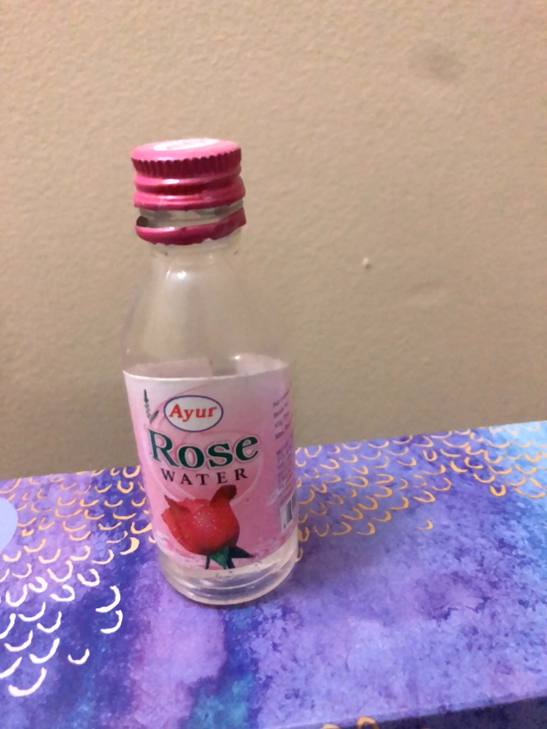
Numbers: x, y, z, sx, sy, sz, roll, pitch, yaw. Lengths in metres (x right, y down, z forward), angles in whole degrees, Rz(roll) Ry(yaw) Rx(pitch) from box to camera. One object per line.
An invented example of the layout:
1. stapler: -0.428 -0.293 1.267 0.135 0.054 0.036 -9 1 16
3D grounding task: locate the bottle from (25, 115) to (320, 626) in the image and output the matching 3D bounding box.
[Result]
1. bottle: -0.013 0.002 0.134 0.040 0.100 0.040 -3 26 1
